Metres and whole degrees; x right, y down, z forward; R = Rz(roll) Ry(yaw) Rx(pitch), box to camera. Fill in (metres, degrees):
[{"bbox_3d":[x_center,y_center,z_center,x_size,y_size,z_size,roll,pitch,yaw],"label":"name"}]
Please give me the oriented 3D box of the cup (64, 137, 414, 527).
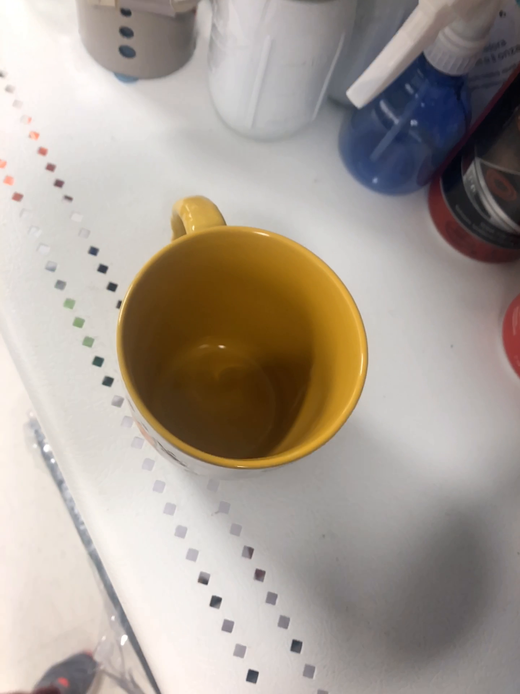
[{"bbox_3d":[-0.018,-0.003,0.264,0.099,0.093,0.133,-14,73,-16],"label":"cup"}]
